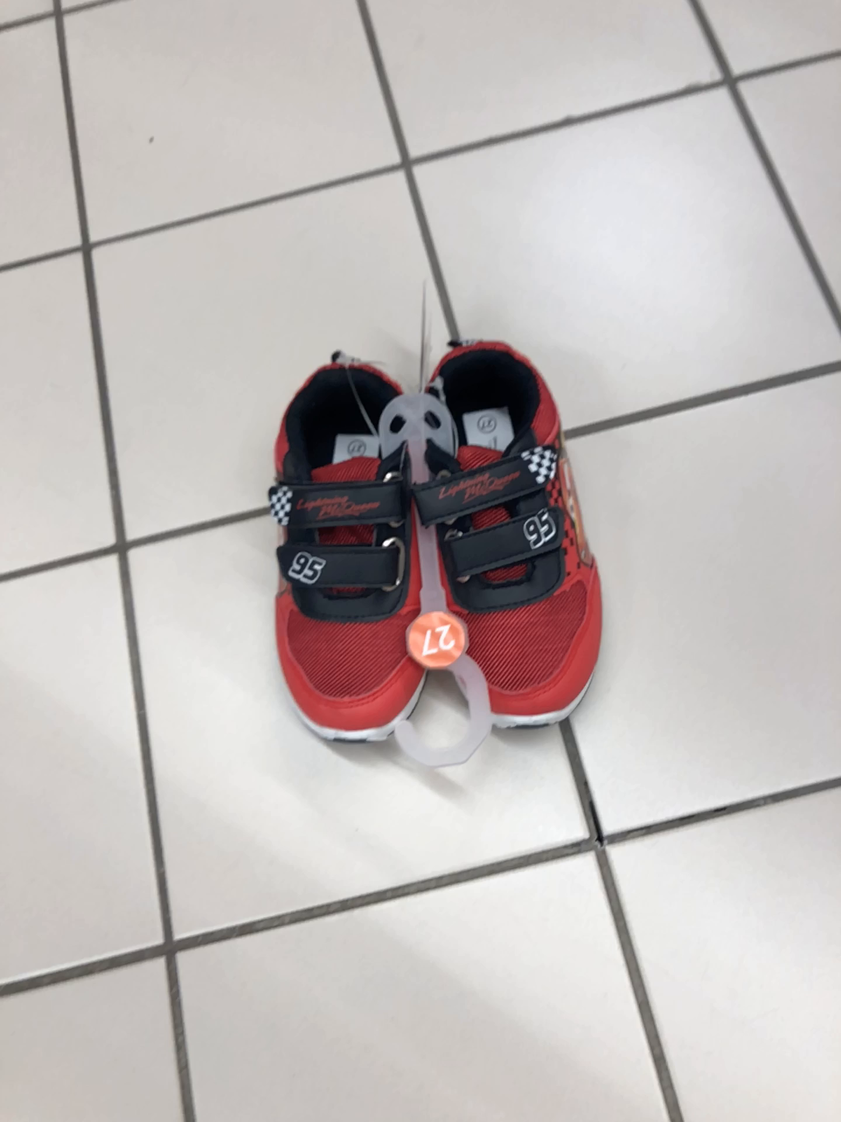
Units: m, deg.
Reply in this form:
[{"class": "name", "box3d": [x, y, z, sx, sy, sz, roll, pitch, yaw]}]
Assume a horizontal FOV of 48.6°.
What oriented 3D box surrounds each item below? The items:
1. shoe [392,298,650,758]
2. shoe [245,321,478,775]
[{"class": "shoe", "box3d": [0.042, -0.015, 0.440, 0.087, 0.074, 0.195, -7, 70, 3]}, {"class": "shoe", "box3d": [-0.028, -0.006, 0.445, 0.087, 0.073, 0.195, -7, 70, 3]}]
